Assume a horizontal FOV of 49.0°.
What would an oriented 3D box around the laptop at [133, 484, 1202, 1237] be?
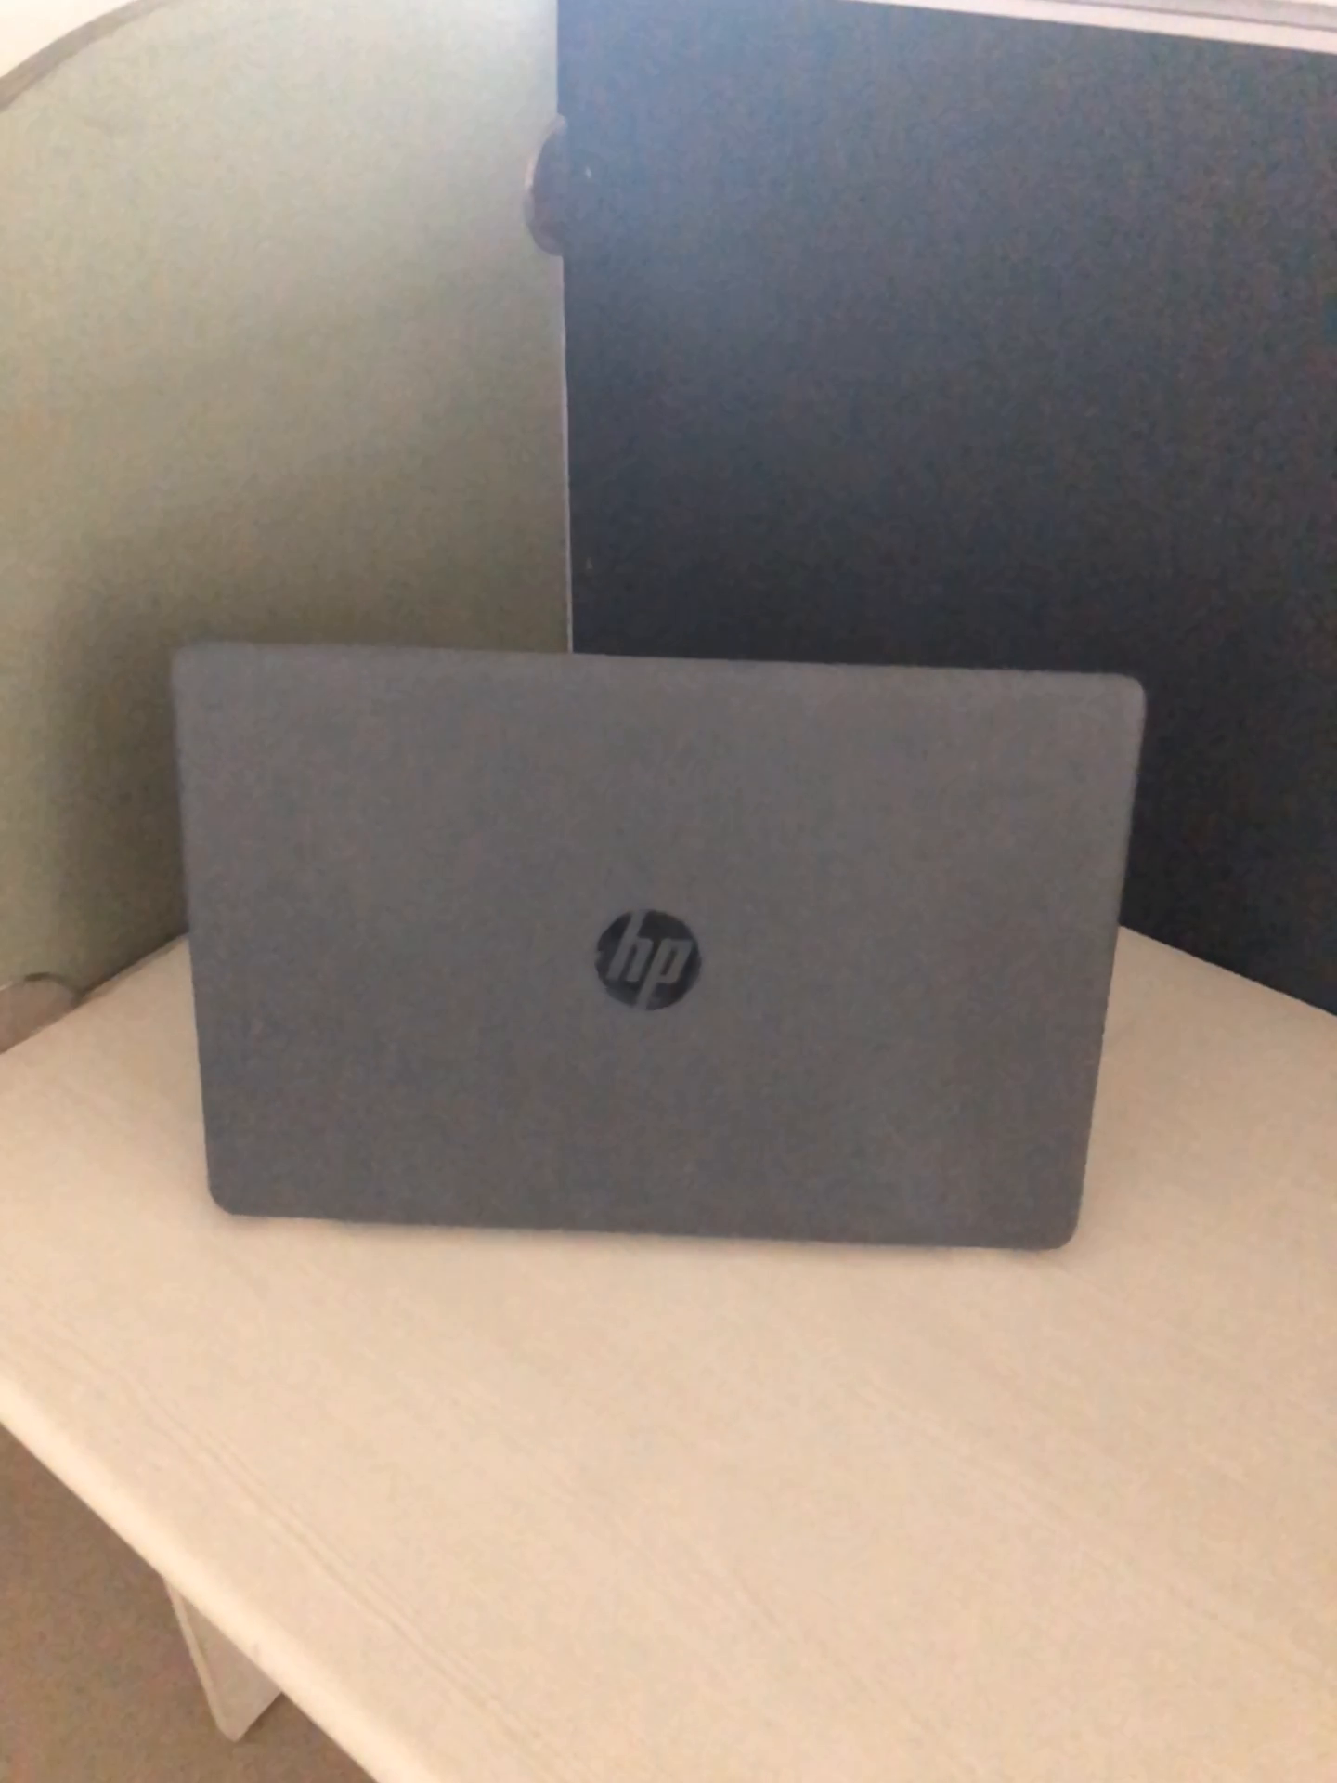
[{"bbox_3d":[0.001,-0.023,0.650,0.359,0.215,0.239,2,38,3],"label":"laptop"}]
